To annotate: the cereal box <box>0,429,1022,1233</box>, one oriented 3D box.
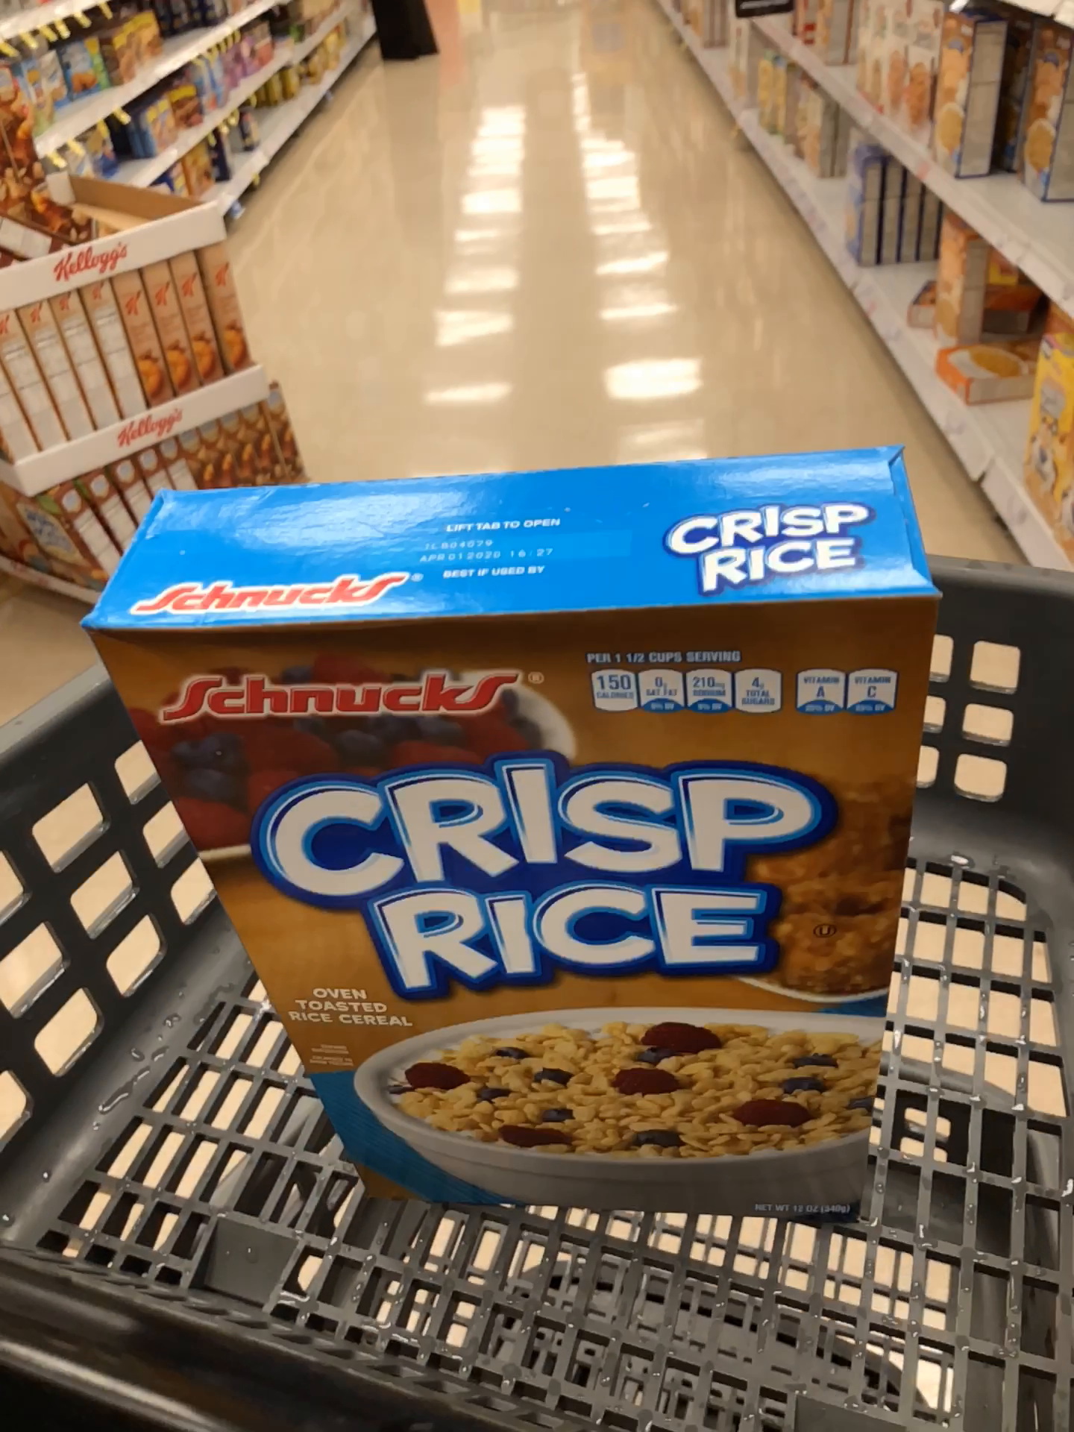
[{"bbox_3d":[0.007,0.065,0.376,0.220,0.299,0.060,-2,43,7],"label":"cereal box"}]
